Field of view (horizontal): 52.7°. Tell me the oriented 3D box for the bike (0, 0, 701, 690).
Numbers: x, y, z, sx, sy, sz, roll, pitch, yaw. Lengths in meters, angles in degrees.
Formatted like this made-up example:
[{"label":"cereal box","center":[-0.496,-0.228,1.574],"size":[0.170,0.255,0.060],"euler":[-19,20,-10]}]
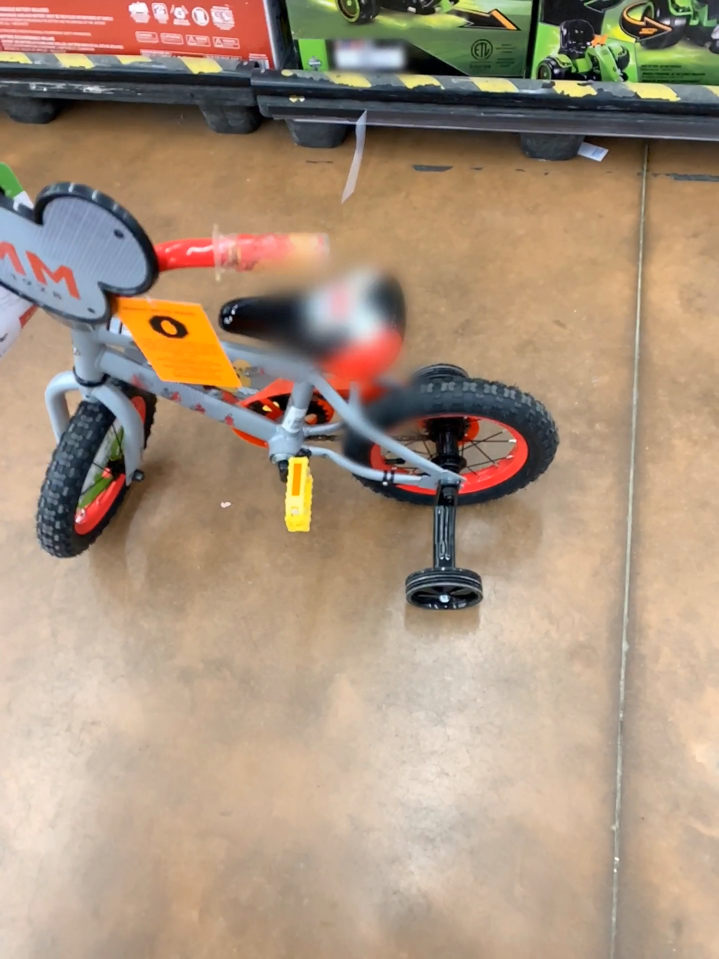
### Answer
[{"label":"bike","center":[-0.117,-0.122,0.845],"size":[0.640,0.690,0.453],"euler":[-9,58,5]}]
